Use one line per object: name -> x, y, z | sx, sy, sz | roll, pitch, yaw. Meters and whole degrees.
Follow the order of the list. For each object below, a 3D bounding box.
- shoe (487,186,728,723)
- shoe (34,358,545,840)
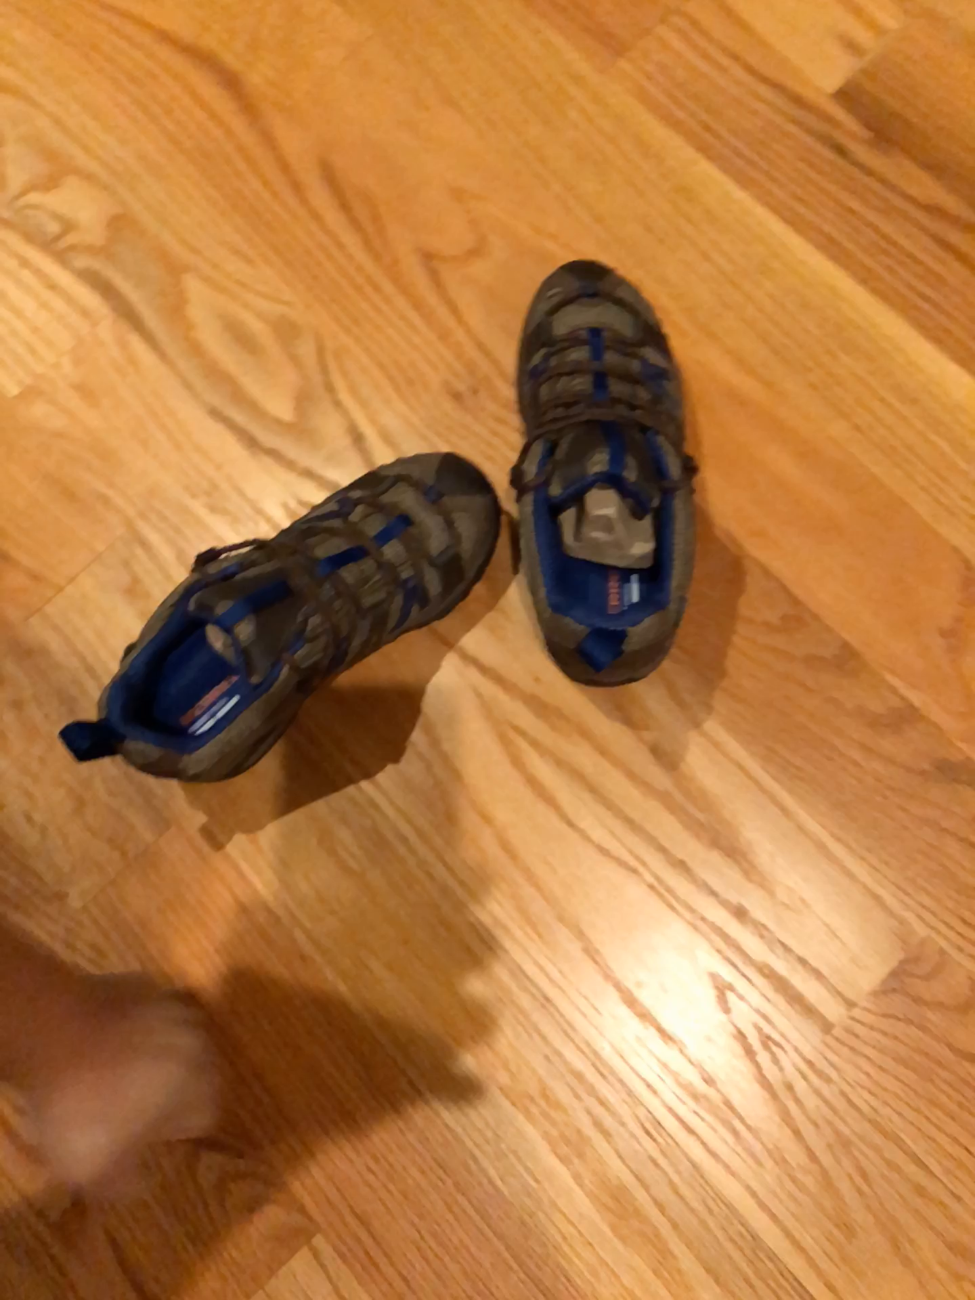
shoe -> 0.057, -0.096, 0.557 | 0.097, 0.094, 0.252 | -4, 77, 4
shoe -> -0.092, -0.020, 0.563 | 0.240, 0.106, 0.095 | -42, 77, -5
